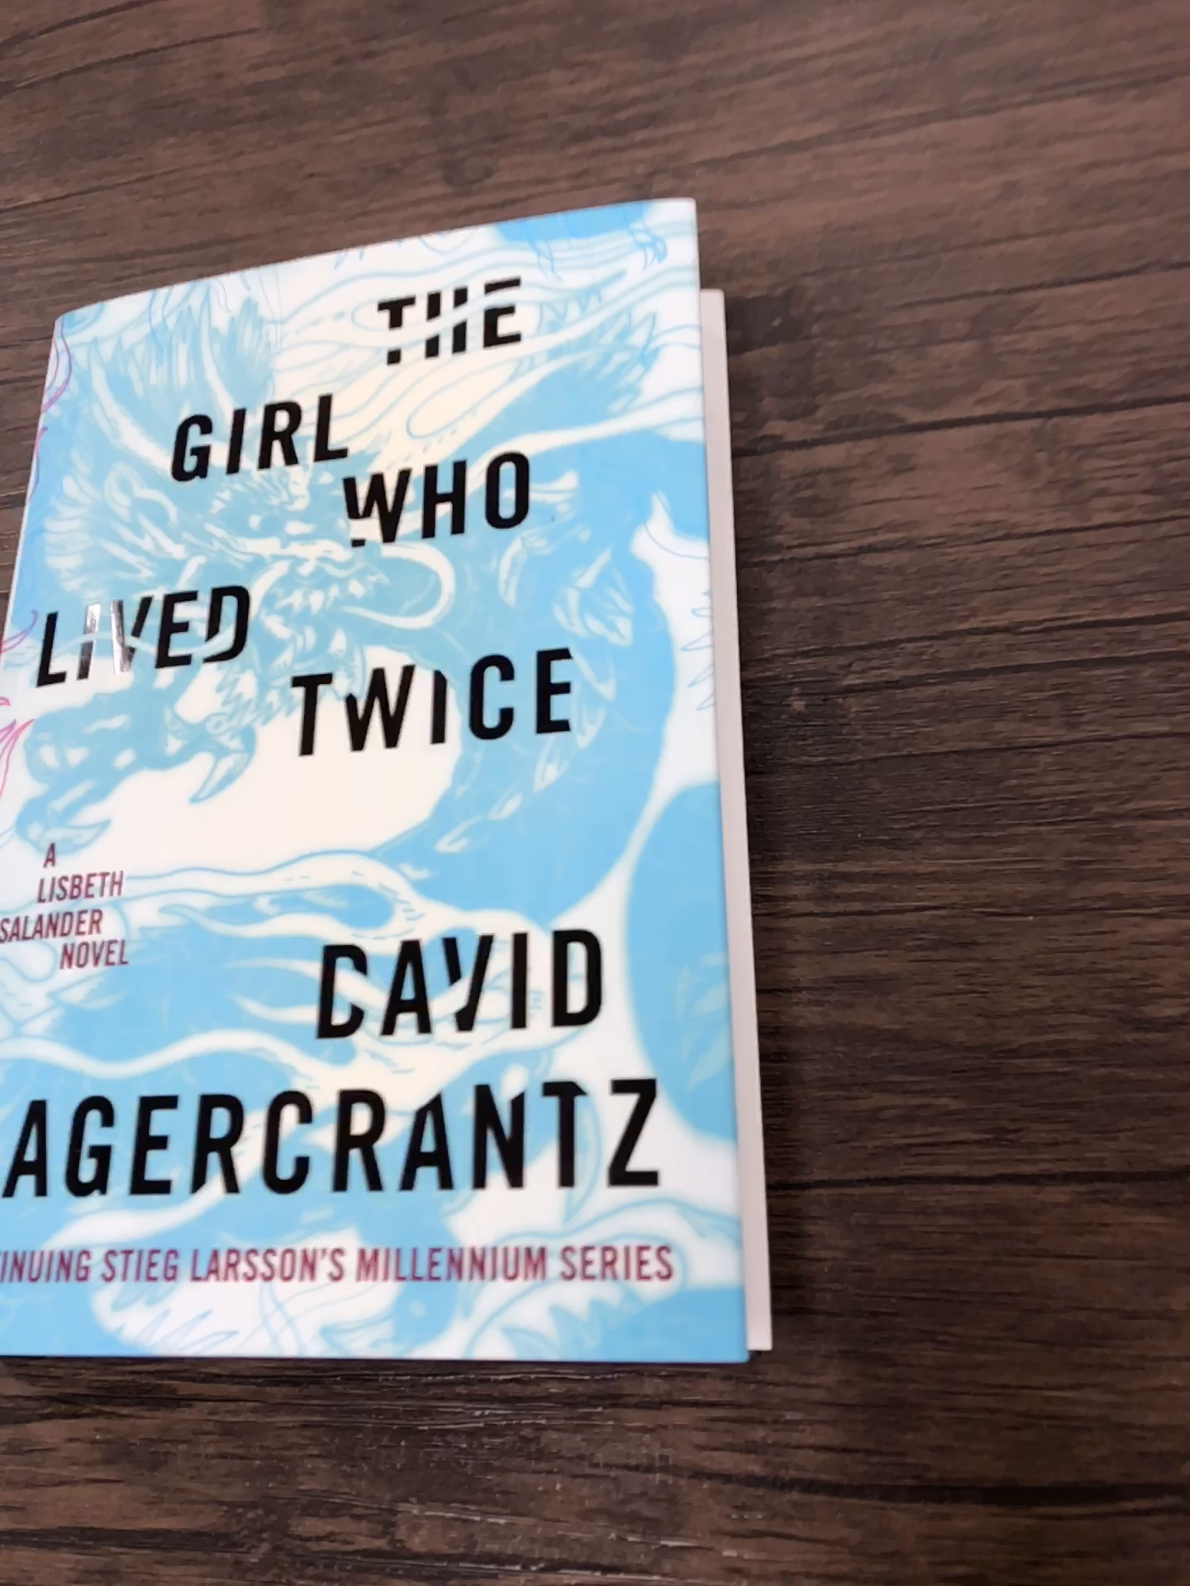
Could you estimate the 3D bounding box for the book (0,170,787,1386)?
[{"bbox_3d":[-0.053,-0.008,0.279,0.170,0.040,0.240,-5,69,13],"label":"book"}]
